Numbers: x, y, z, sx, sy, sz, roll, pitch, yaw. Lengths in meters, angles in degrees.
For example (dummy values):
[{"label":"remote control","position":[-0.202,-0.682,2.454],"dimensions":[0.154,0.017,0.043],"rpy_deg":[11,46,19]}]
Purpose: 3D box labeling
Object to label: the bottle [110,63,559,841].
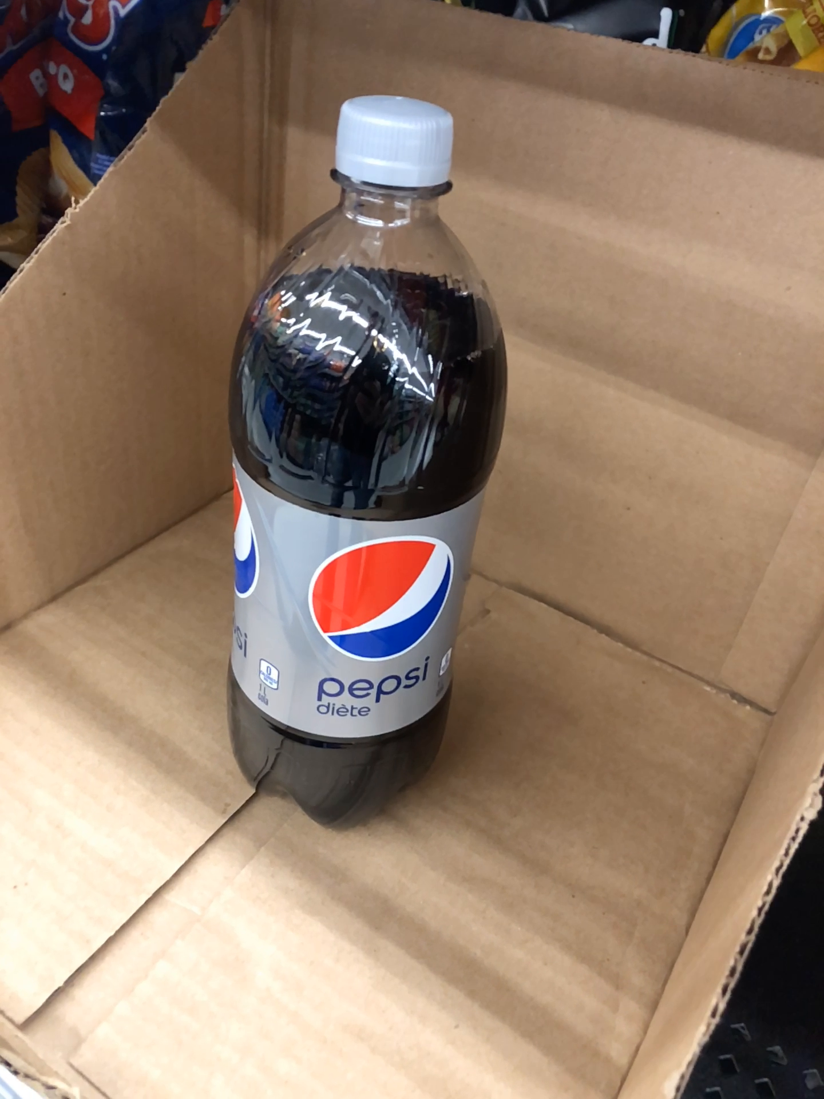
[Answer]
[{"label":"bottle","position":[-0.027,-0.013,0.284],"dimensions":[0.090,0.228,0.081],"rpy_deg":[0,38,-7]}]
